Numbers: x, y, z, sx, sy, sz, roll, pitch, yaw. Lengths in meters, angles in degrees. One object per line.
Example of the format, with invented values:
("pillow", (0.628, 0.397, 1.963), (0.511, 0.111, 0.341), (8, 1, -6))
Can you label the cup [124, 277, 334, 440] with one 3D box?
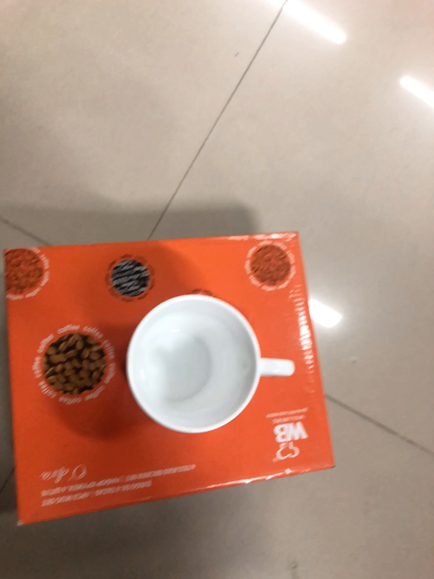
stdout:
("cup", (0.002, 0.048, 0.325), (0.120, 0.090, 0.090), (4, 80, -12))
